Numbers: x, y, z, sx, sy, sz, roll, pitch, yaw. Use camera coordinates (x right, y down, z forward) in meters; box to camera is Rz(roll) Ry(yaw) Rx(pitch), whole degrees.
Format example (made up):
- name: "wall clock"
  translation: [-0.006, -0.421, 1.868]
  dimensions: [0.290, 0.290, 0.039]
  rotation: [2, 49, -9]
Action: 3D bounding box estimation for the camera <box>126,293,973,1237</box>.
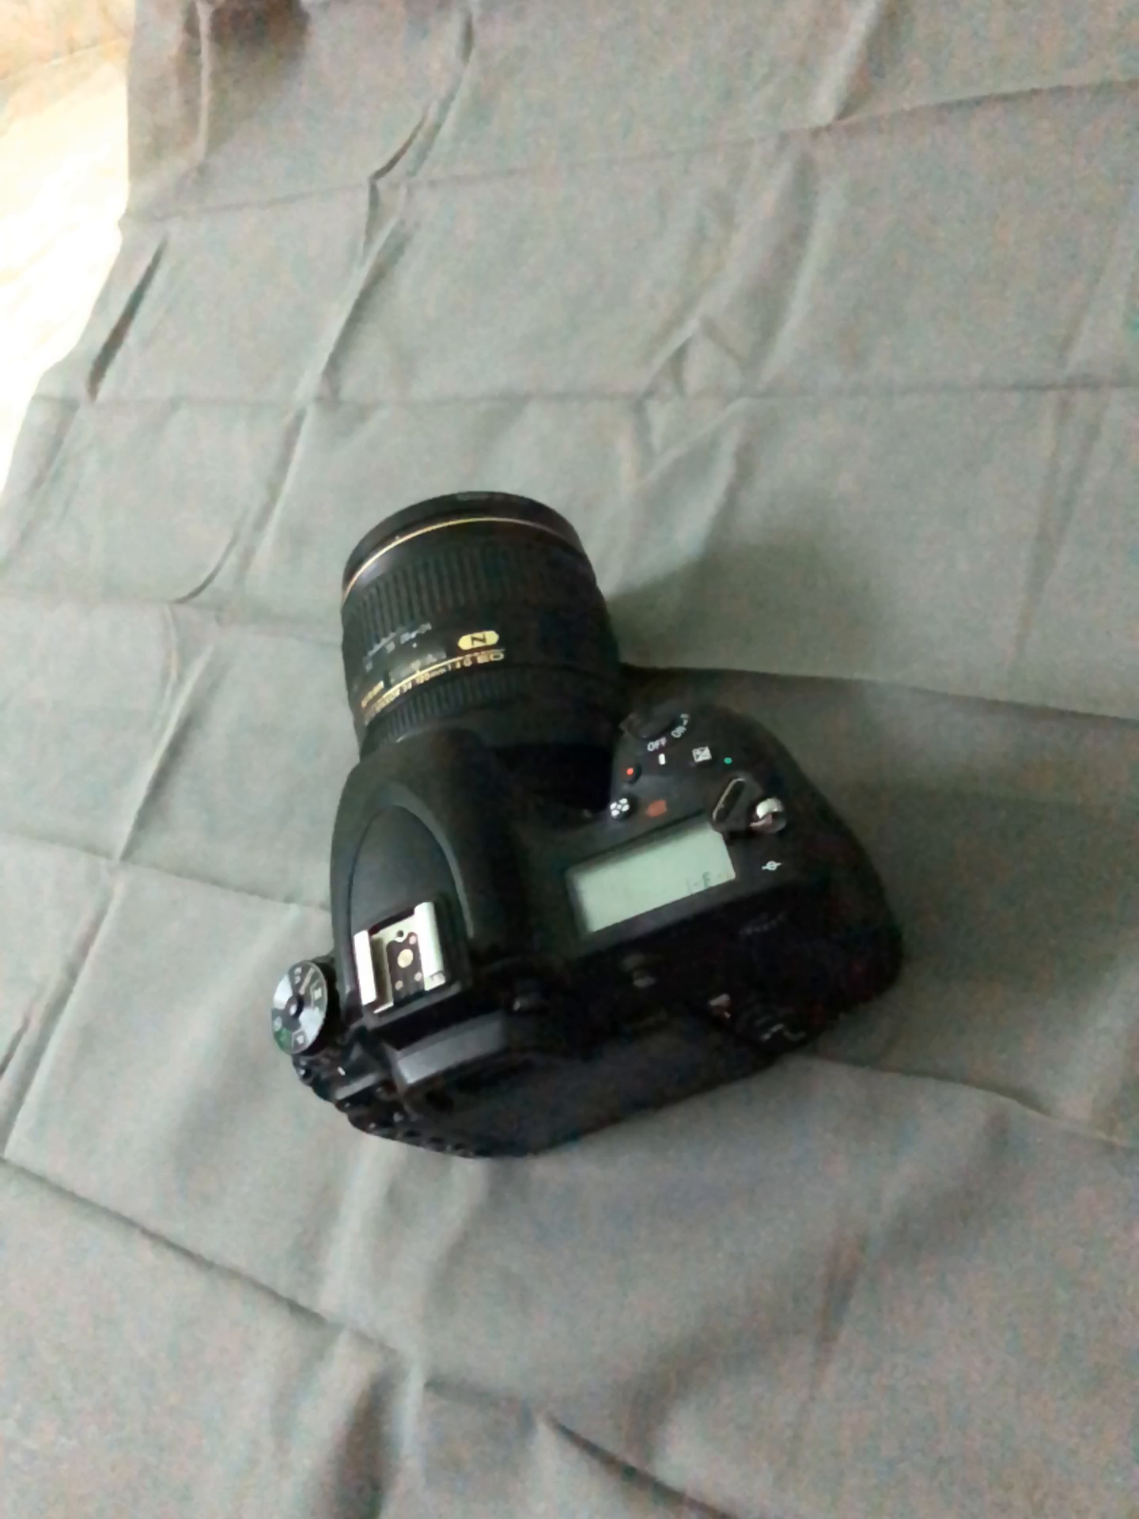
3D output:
- name: "camera"
  translation: [-0.010, 0.014, 0.329]
  dimensions: [0.146, 0.134, 0.164]
  rotation: [-25, 57, 18]
